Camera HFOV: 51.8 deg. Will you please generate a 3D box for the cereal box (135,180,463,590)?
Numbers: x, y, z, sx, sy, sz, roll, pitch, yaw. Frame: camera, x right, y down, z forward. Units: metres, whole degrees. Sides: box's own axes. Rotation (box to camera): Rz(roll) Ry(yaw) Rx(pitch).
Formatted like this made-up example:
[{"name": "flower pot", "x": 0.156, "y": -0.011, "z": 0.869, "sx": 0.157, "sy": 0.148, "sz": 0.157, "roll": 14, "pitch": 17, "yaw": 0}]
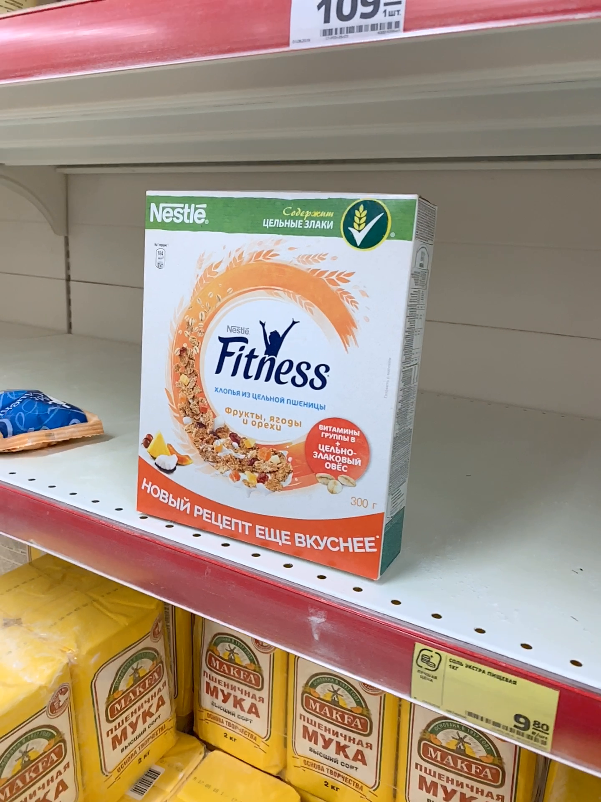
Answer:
[{"name": "cereal box", "x": -0.010, "y": -0.022, "z": 0.428, "sx": 0.200, "sy": 0.239, "sz": 0.060, "roll": 10, "pitch": 10, "yaw": 26}]
